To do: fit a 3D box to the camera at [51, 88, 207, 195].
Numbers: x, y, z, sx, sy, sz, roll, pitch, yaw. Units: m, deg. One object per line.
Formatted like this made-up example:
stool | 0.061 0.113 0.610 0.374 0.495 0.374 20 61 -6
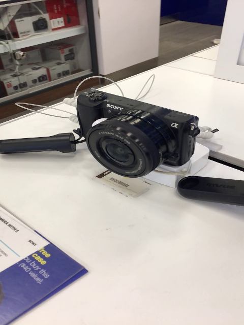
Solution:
camera | 0.004 -0.023 0.307 0.120 0.065 0.050 22 47 26
